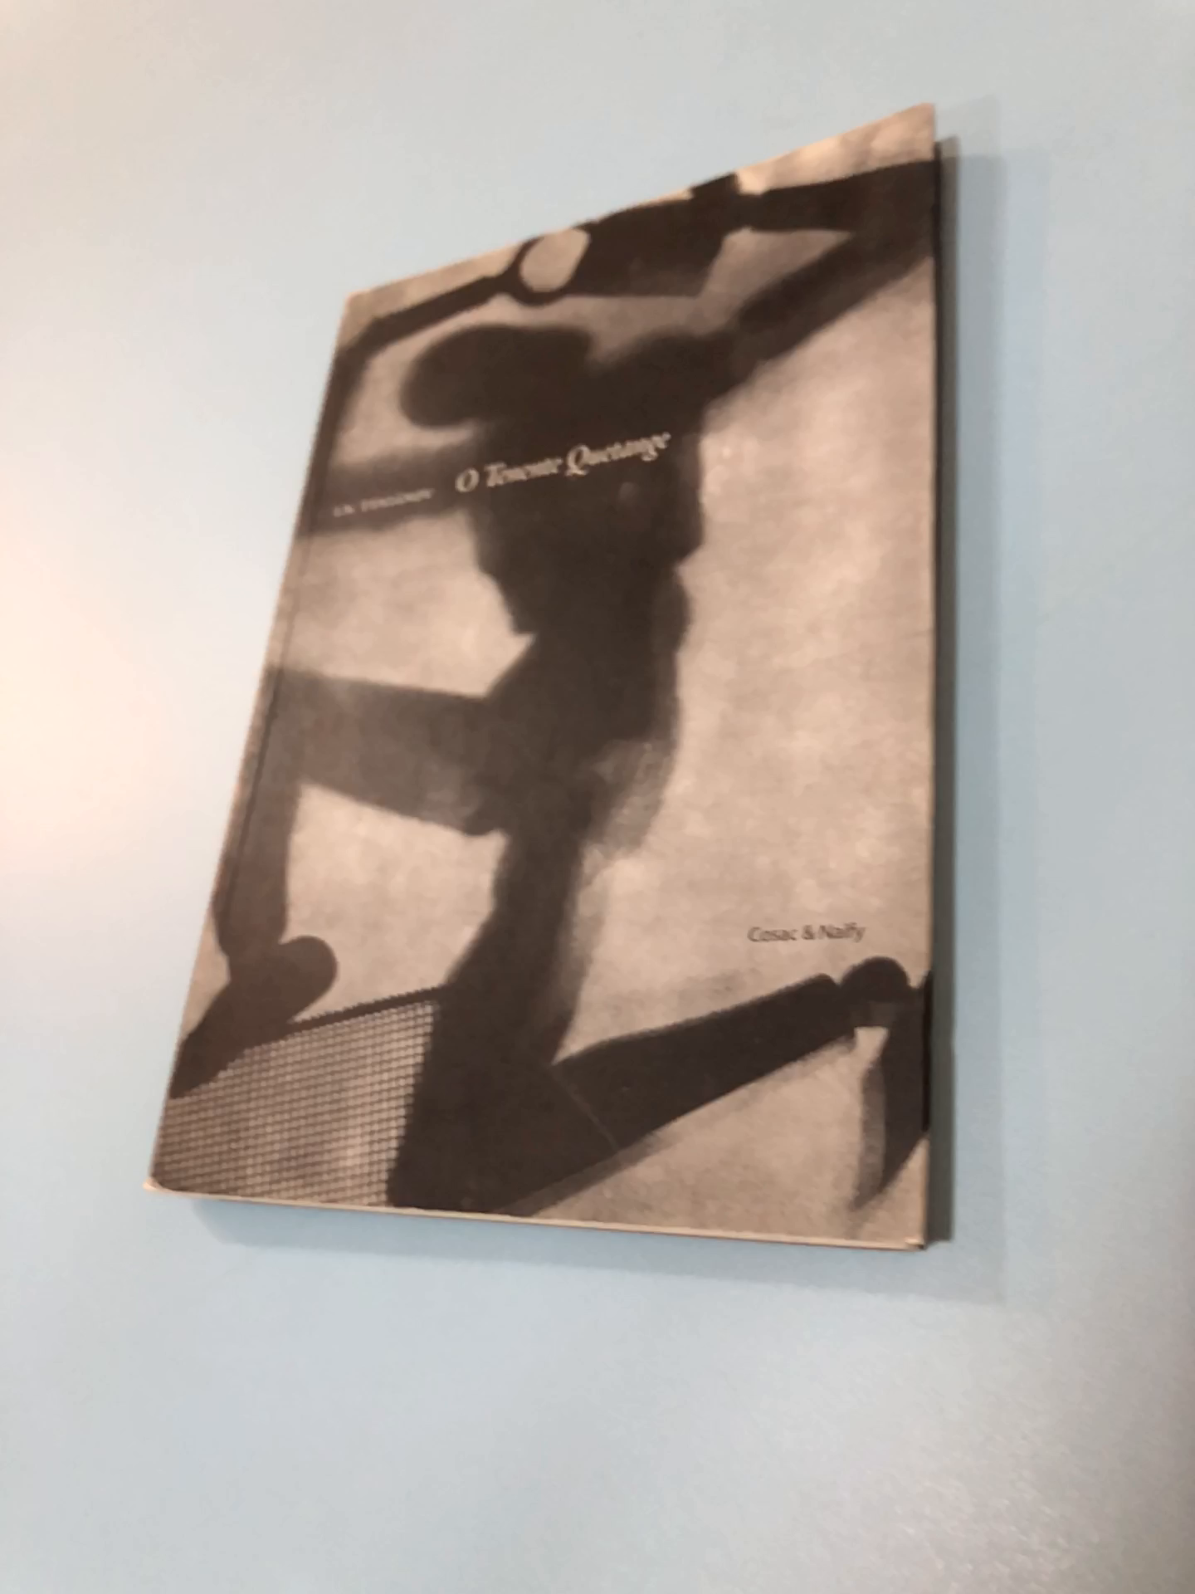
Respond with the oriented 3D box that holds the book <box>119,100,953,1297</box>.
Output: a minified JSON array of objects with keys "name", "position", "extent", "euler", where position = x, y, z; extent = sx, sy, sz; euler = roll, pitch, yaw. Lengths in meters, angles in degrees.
[{"name":"book","position":[-0.008,-0.023,0.238],"extent":[0.134,0.016,0.197],"euler":[-5,66,28]}]
